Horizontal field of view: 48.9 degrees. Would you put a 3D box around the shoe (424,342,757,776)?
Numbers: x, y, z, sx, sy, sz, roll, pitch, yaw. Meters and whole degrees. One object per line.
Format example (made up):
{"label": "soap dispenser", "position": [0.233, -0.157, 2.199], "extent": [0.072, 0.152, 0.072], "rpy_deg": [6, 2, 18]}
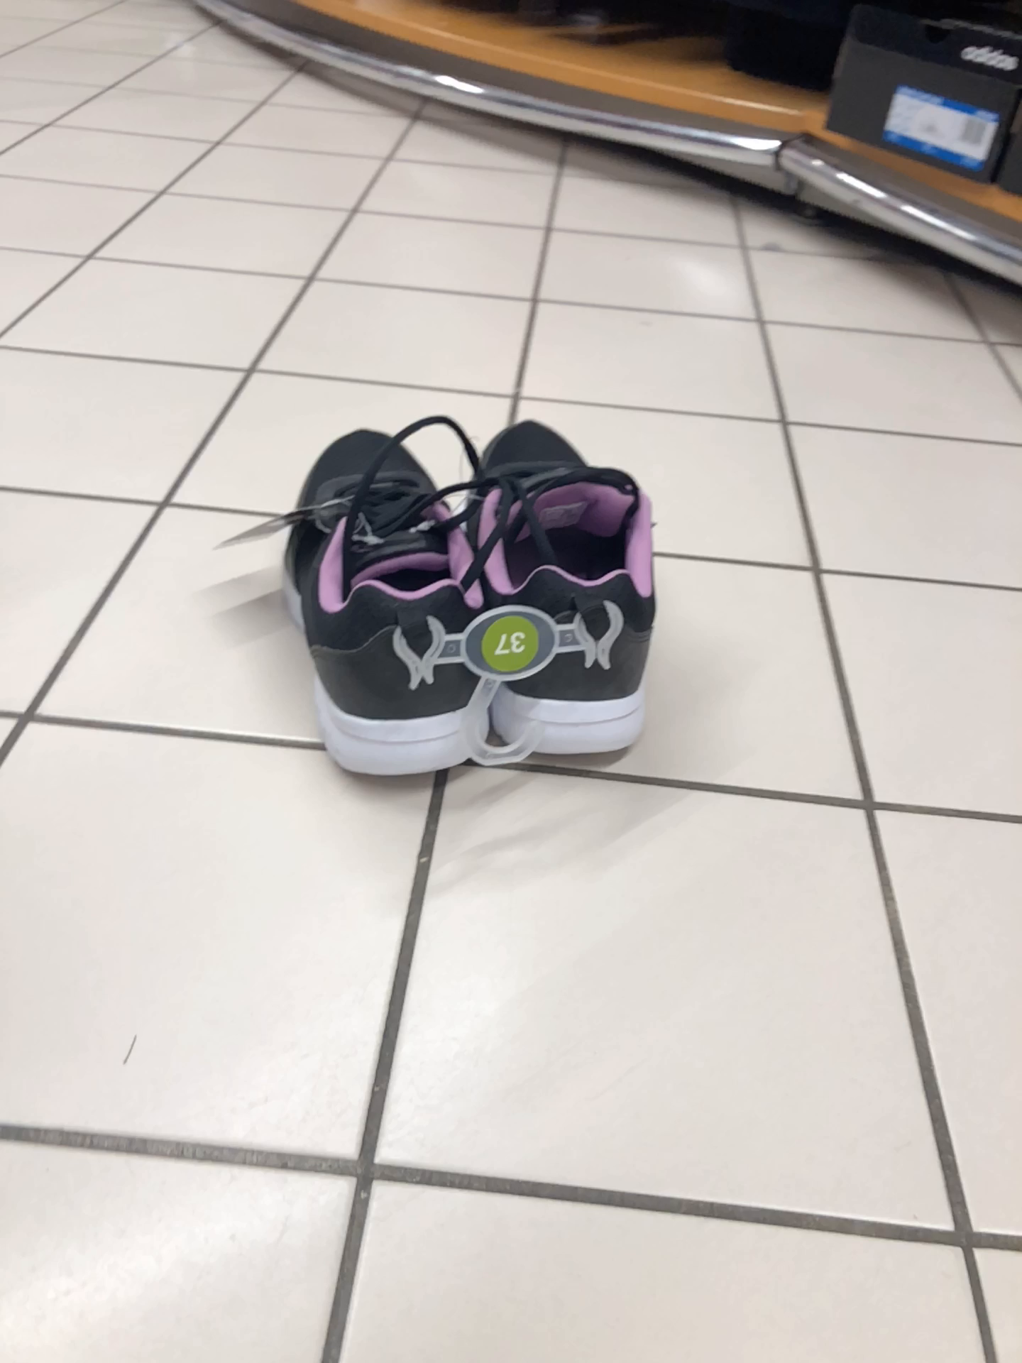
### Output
{"label": "shoe", "position": [0.023, -0.078, 0.578], "extent": [0.110, 0.089, 0.262], "rpy_deg": [-3, 39, -9]}

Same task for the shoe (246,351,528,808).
{"label": "shoe", "position": [-0.068, -0.068, 0.567], "extent": [0.110, 0.089, 0.262], "rpy_deg": [-6, 40, -7]}
